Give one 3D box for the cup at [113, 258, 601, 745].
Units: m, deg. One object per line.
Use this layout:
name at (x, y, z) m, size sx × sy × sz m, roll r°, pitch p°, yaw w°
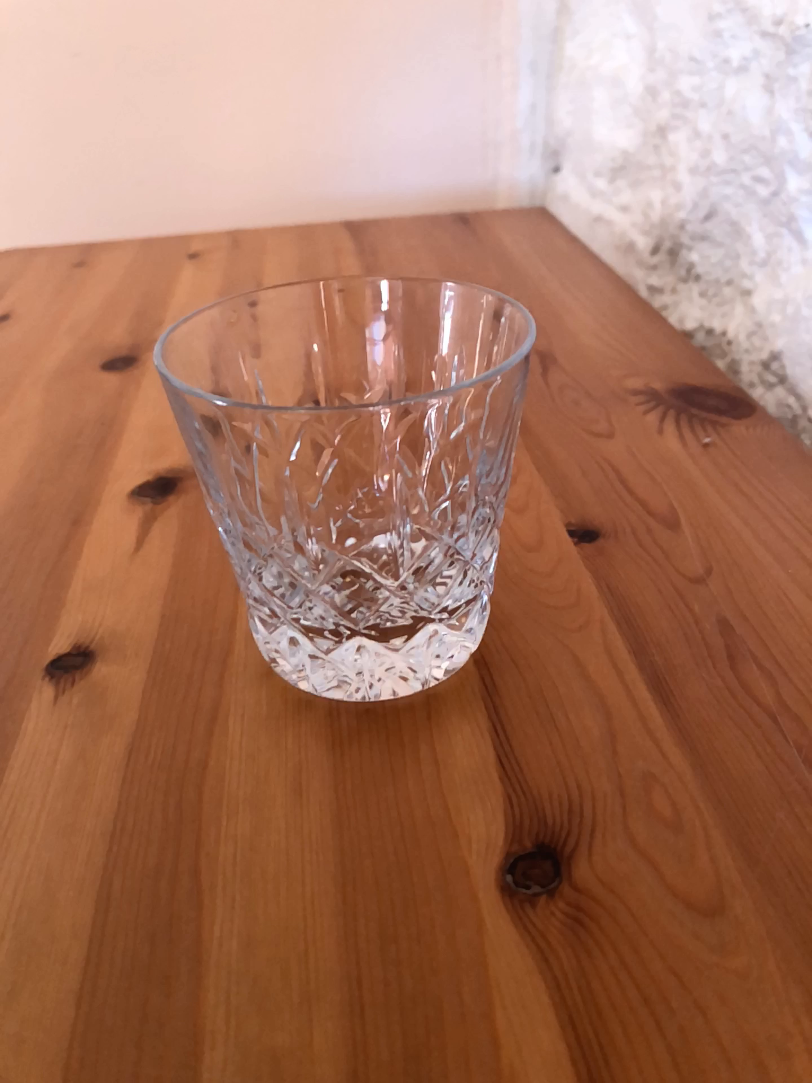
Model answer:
cup at (-0.007, -0.013, 0.192) m, size 0.076 × 0.068 × 0.078 m, roll -3°, pitch 32°, yaw 2°
